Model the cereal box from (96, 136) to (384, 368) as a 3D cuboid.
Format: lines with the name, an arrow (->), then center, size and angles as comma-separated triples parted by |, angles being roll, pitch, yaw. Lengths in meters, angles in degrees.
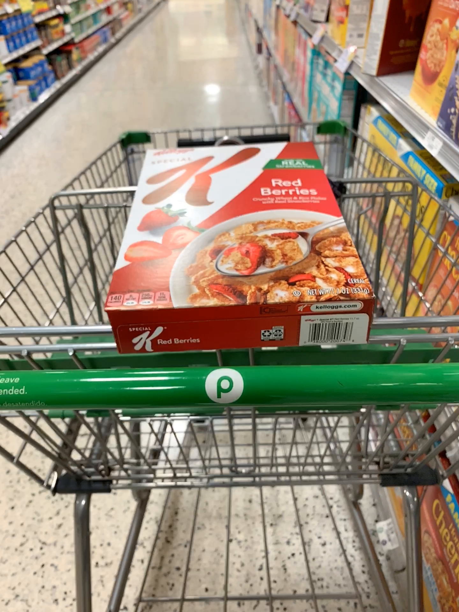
cereal box -> 0.005, -0.074, 0.463 | 0.200, 0.059, 0.293 | -3, 40, 0
